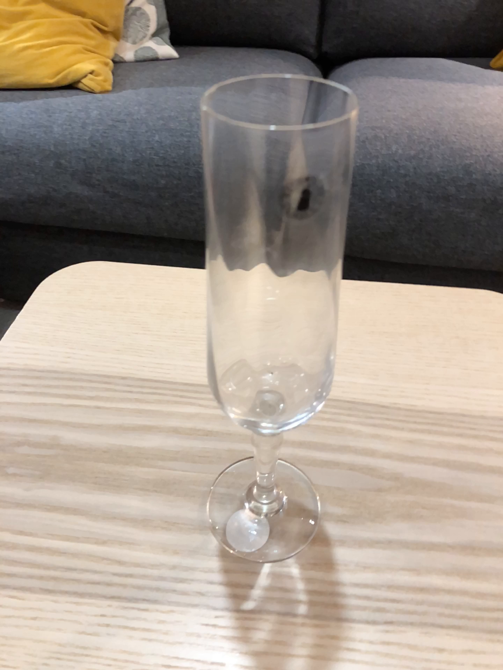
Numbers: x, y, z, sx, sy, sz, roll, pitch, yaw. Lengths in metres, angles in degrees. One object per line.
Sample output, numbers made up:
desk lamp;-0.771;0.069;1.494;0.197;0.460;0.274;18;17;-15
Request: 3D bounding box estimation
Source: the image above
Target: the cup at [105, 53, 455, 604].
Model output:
cup;0.005;0.015;0.256;0.080;0.239;0.080;0;41;0
